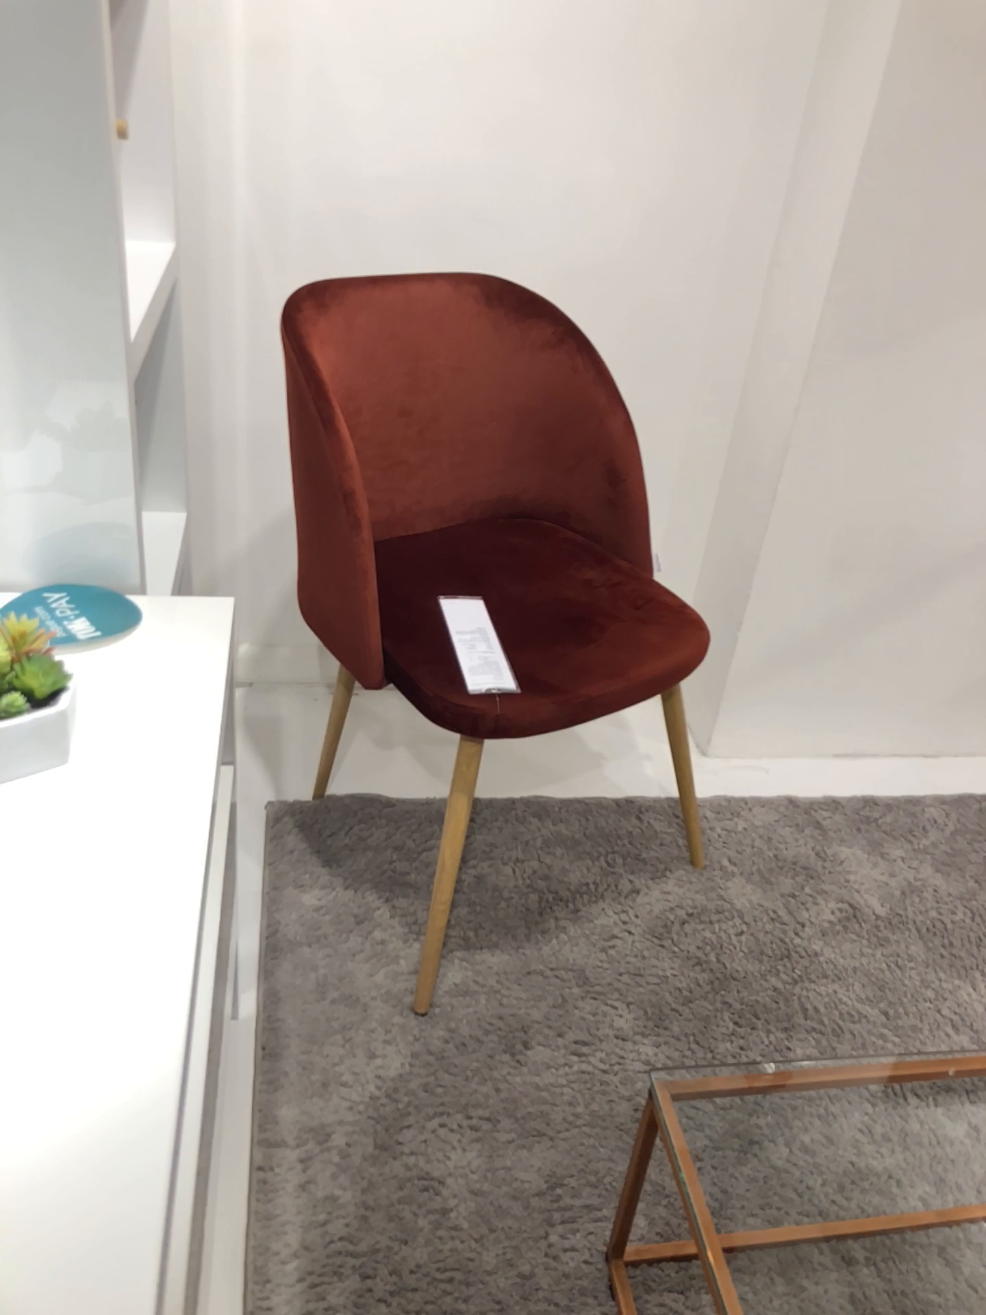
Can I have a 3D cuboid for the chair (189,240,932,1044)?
[{"bbox_3d":[0.028,-0.094,1.440,0.593,0.734,0.652,-19,40,-38],"label":"chair"}]
